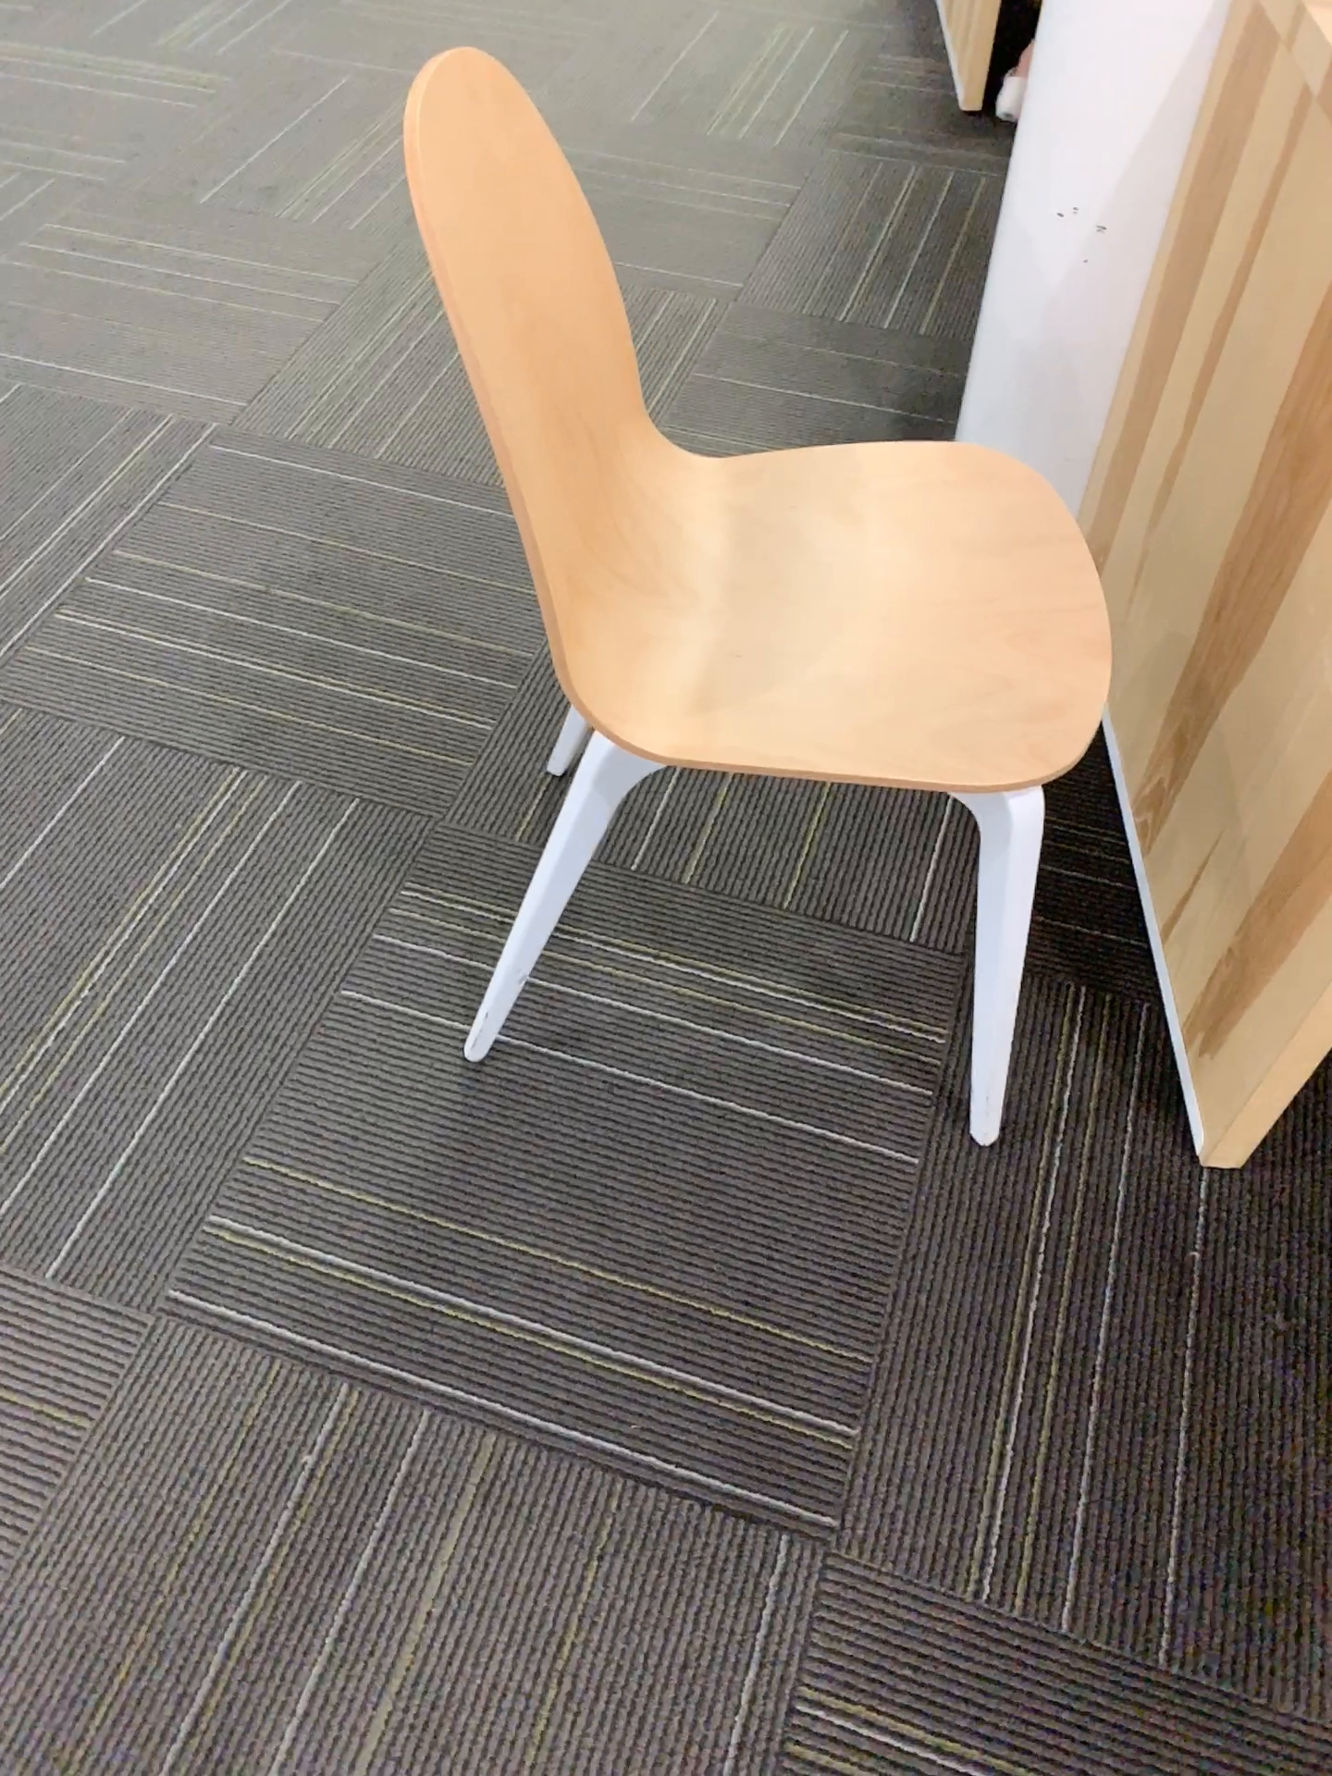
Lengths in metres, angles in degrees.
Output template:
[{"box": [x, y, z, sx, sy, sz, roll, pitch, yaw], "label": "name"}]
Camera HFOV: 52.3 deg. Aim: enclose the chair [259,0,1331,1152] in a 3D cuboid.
[{"box": [0.093, -0.229, 1.137, 0.550, 0.816, 0.502, 6, 52, 4], "label": "chair"}]
